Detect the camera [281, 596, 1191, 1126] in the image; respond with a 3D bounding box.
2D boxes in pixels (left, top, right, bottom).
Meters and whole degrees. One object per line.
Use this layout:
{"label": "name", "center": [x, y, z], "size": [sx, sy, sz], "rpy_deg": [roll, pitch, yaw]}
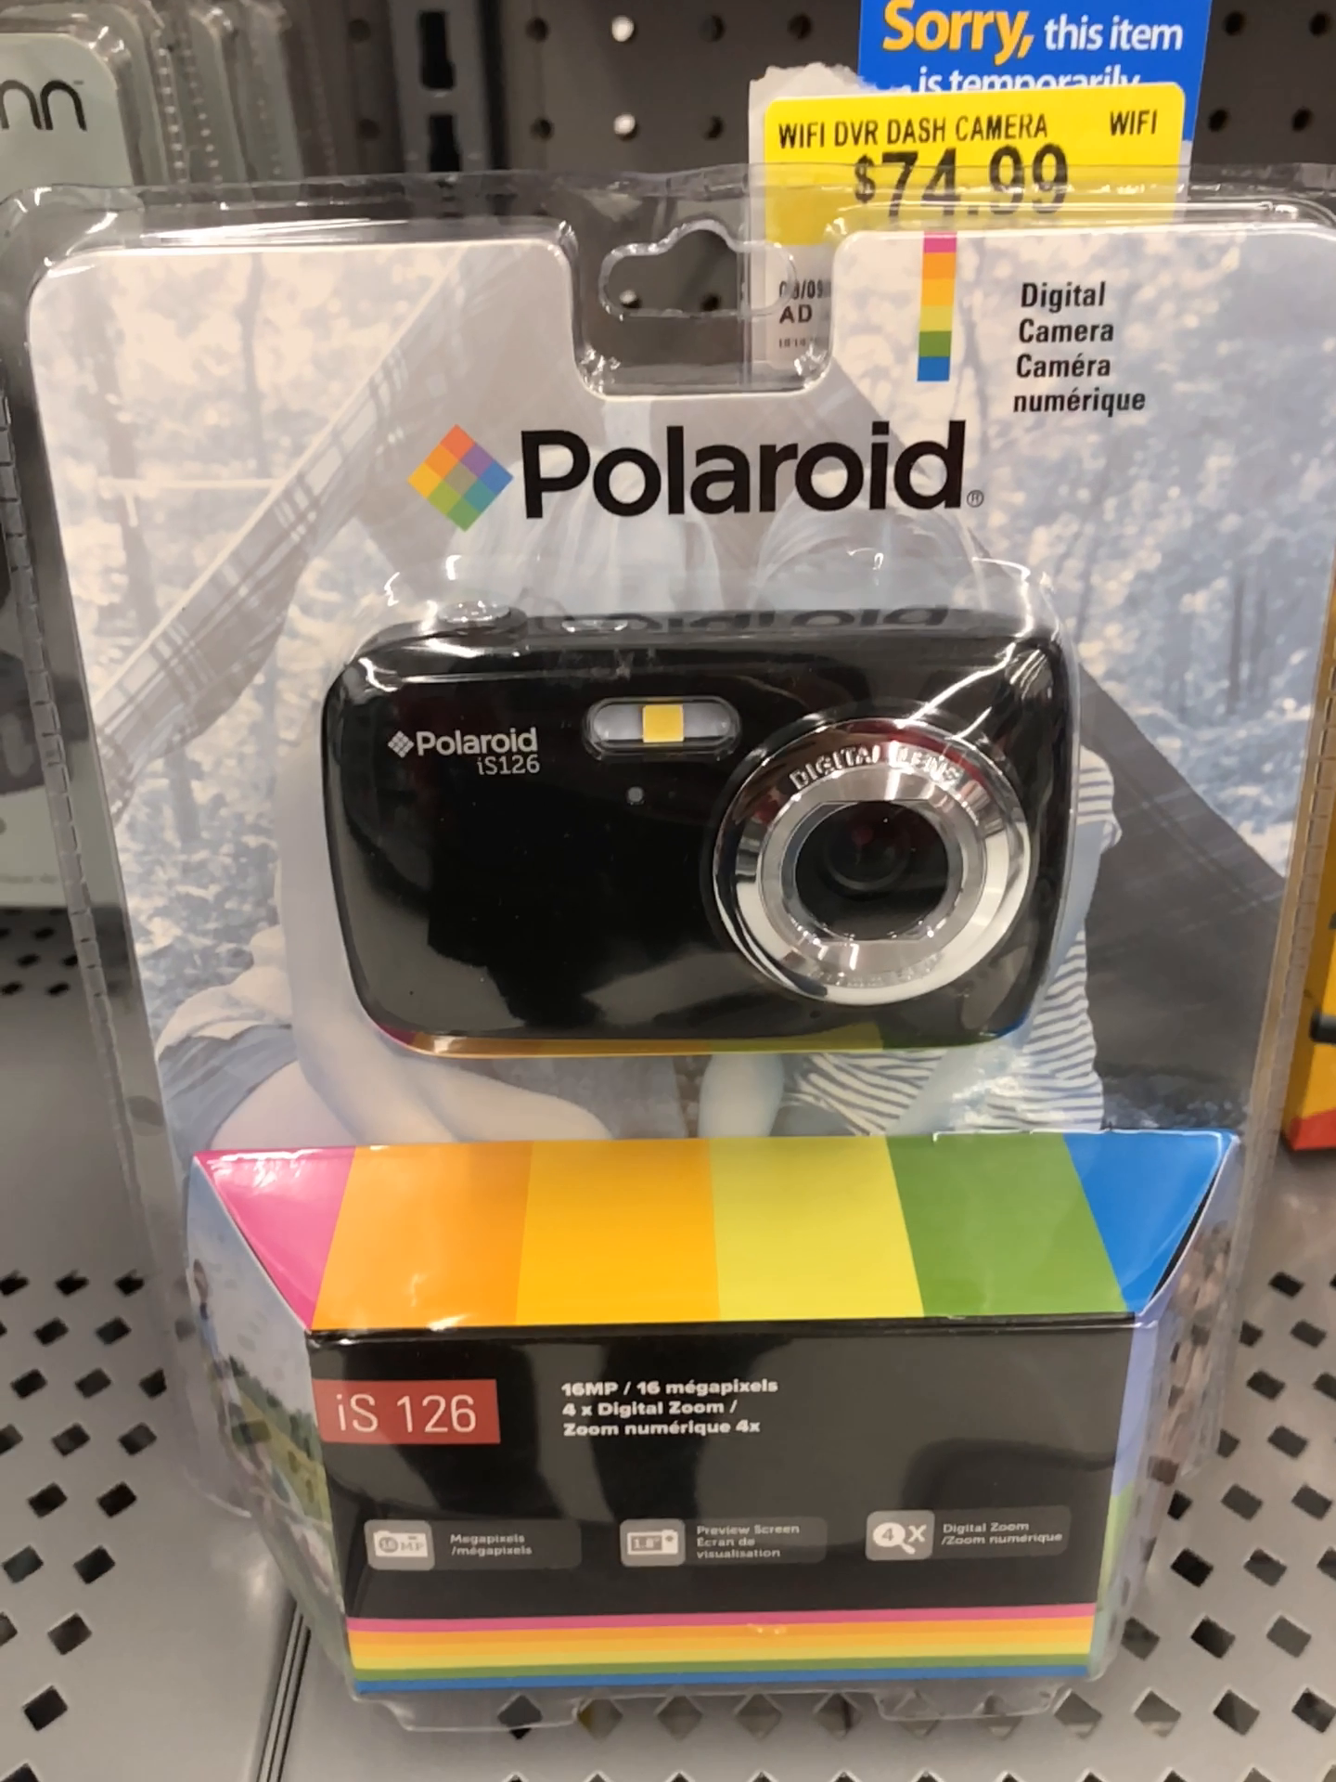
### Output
{"label": "camera", "center": [0.008, -0.003, 0.194], "size": [0.100, 0.060, 0.030], "rpy_deg": [-1, 34, 0]}
